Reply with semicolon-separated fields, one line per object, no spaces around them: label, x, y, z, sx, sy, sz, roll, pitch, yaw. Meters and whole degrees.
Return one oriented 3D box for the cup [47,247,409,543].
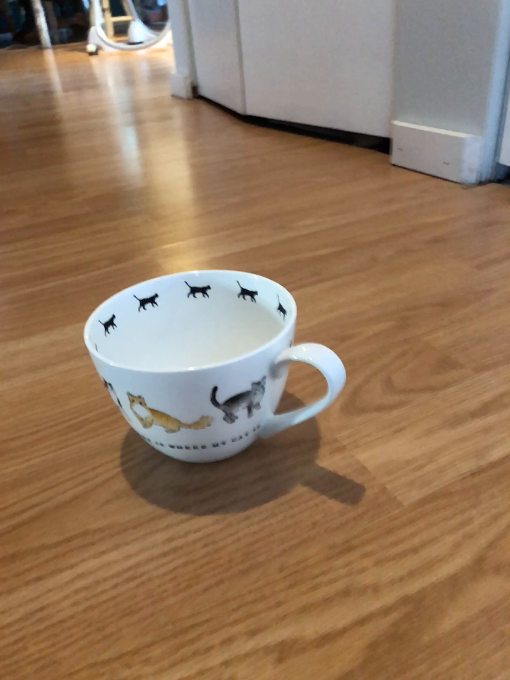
cup;-0.011;0.016;0.332;0.160;0.080;0.120;15;37;30
